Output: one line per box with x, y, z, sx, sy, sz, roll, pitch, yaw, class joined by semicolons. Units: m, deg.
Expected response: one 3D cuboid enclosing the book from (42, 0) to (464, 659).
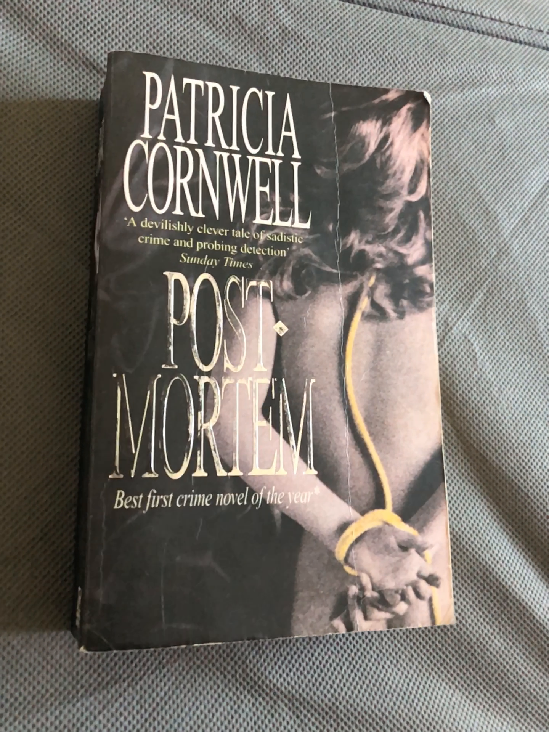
-0.009;-0.015;0.196;0.110;0.050;0.180;2;77;-17;book
